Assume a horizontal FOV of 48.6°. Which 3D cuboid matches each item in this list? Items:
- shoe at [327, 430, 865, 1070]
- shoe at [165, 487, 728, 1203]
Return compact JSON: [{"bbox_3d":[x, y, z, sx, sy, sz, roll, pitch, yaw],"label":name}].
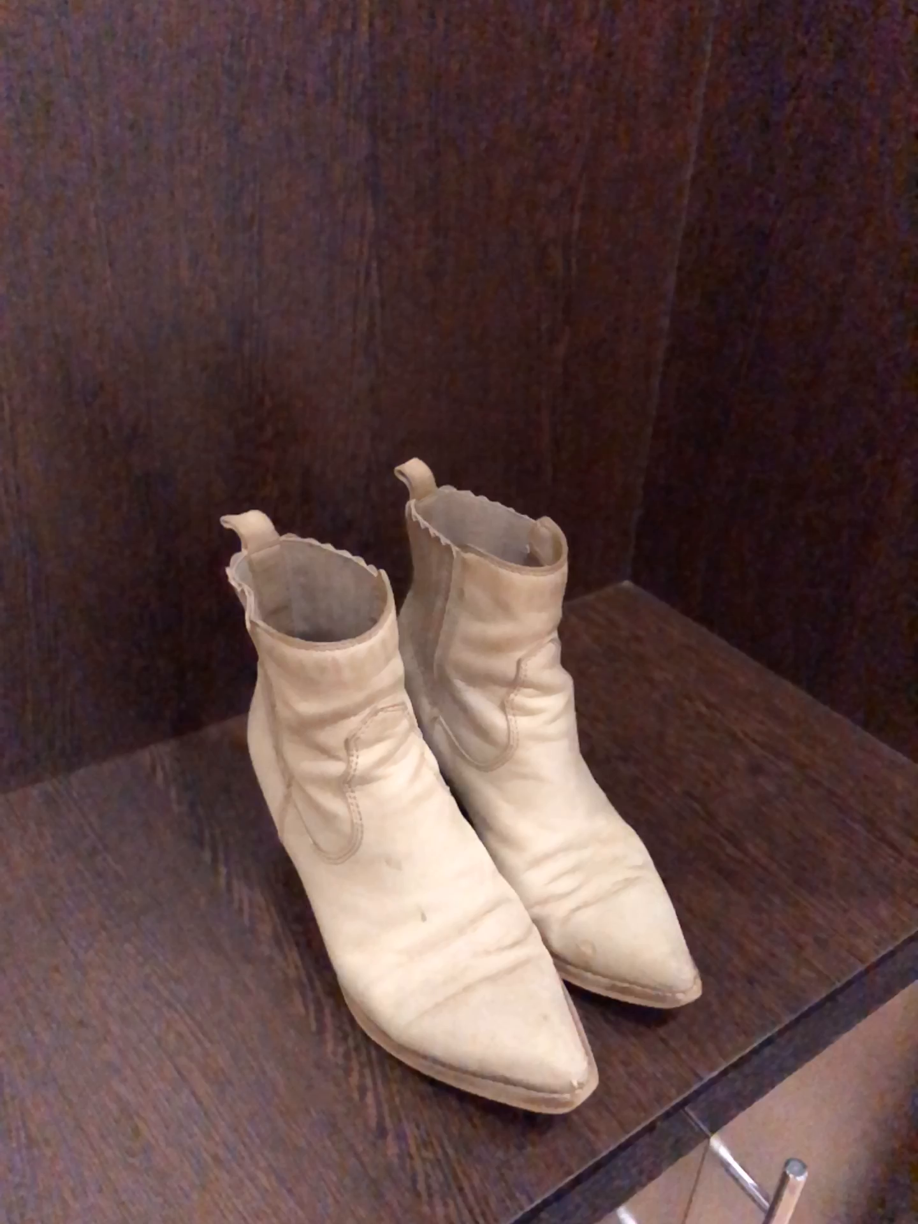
[{"bbox_3d":[0.038,0.044,0.511,0.100,0.169,0.281,-14,35,-26],"label":"shoe"},{"bbox_3d":[-0.026,0.081,0.465,0.100,0.169,0.271,-19,37,-29],"label":"shoe"}]
